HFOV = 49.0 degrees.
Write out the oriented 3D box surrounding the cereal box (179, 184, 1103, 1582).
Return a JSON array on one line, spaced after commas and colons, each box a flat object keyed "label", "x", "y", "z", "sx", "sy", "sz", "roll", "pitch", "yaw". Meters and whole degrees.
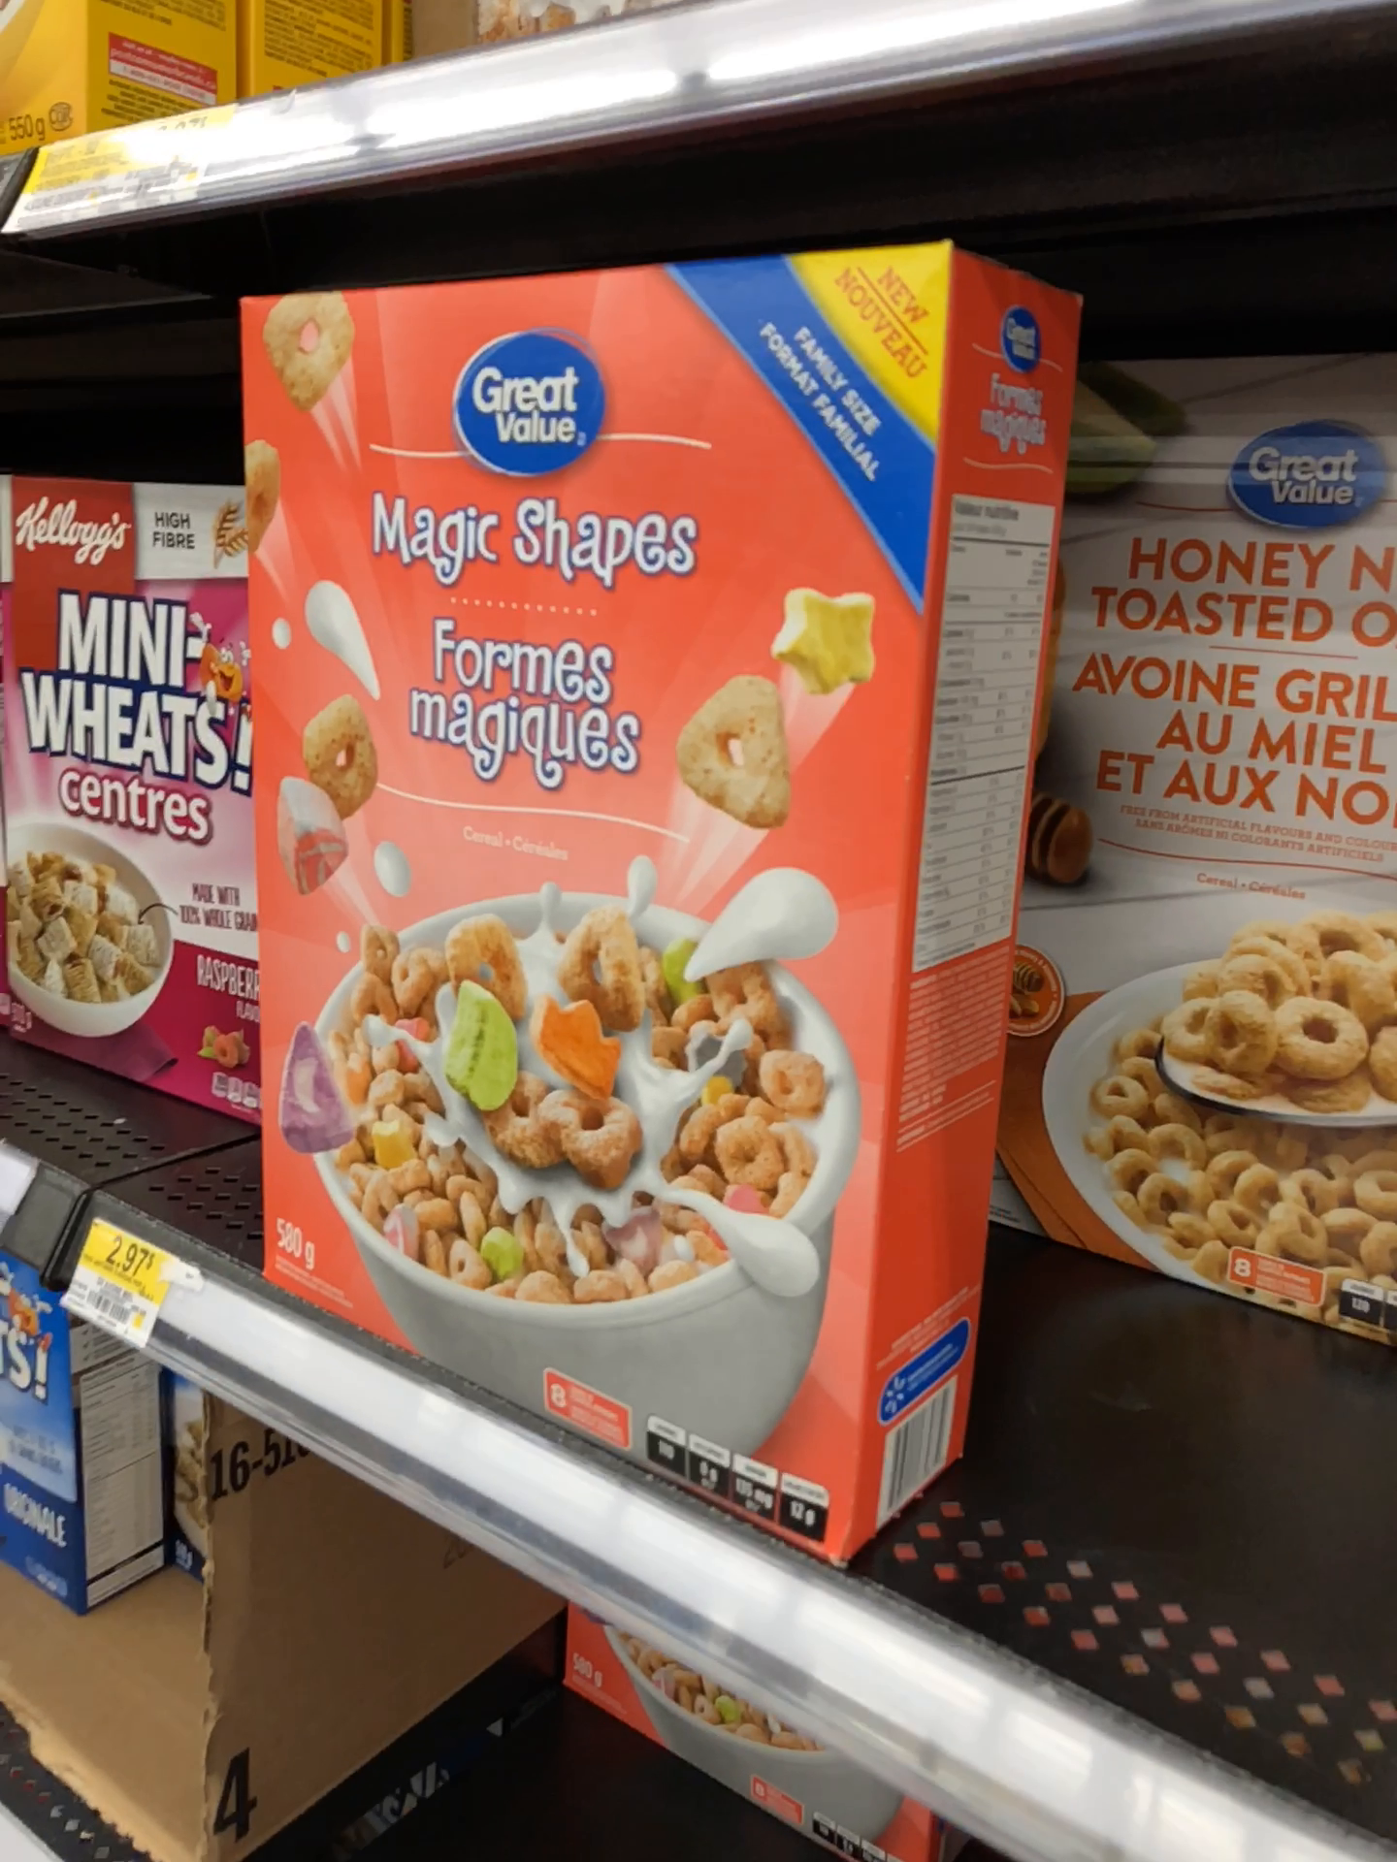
[{"label": "cereal box", "x": -0.034, "y": -0.023, "z": 0.445, "sx": 0.260, "sy": 0.318, "sz": 0.070, "roll": 12, "pitch": 17, "yaw": 36}]
